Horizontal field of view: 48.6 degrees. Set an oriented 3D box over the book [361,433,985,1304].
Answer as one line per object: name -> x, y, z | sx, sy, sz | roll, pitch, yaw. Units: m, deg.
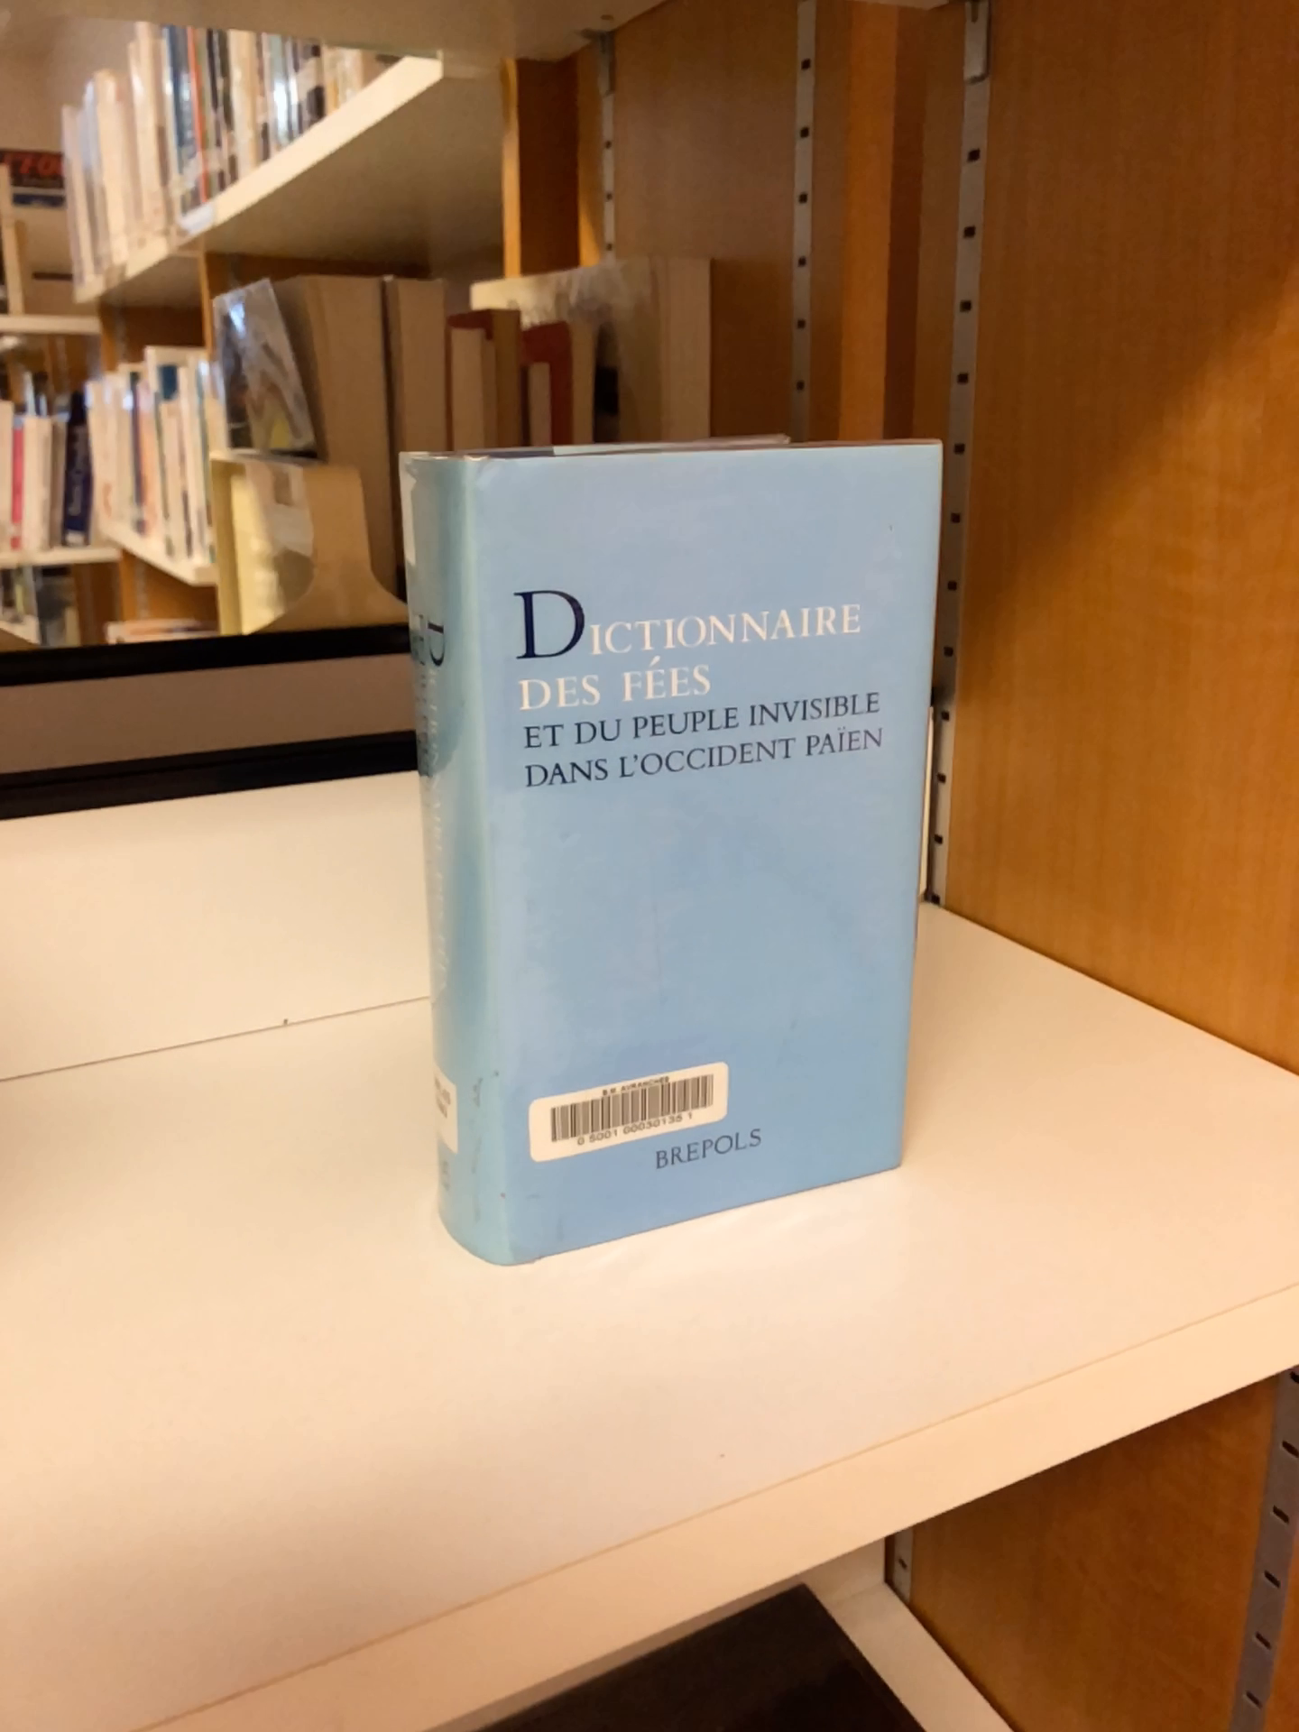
book -> 0.005, -0.006, 0.349 | 0.125, 0.186, 0.060 | -8, 20, -23
